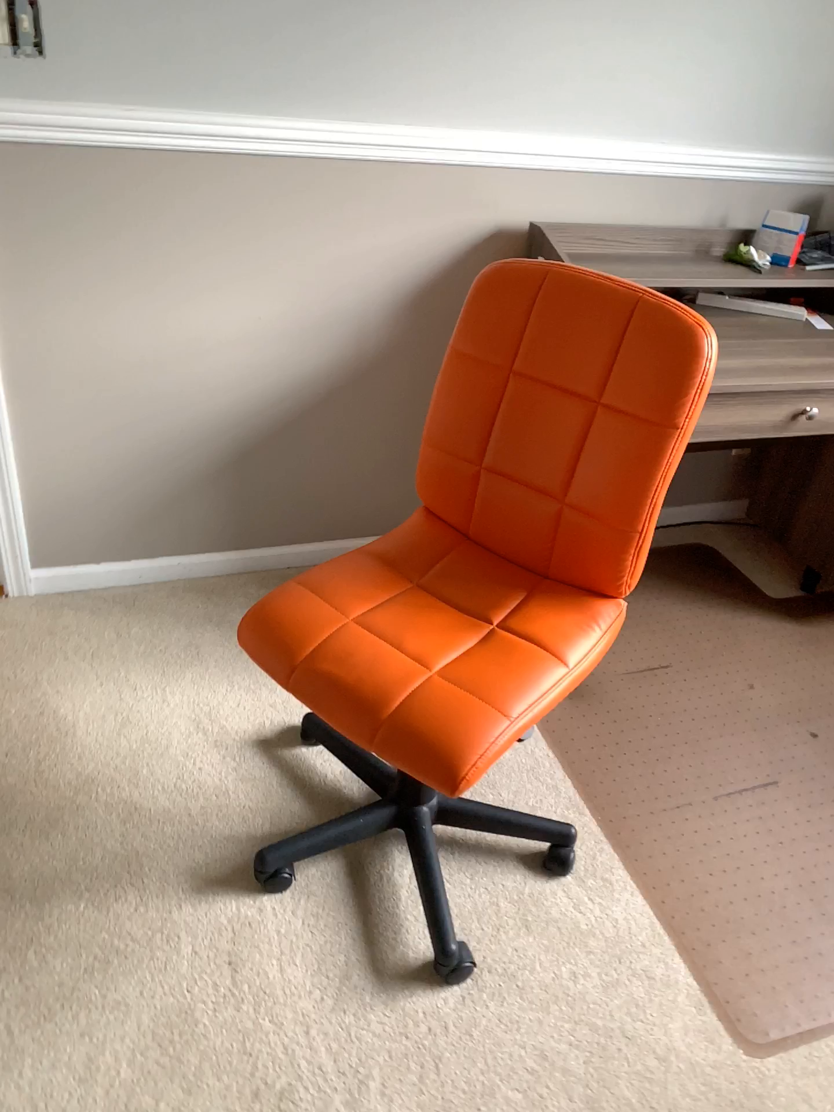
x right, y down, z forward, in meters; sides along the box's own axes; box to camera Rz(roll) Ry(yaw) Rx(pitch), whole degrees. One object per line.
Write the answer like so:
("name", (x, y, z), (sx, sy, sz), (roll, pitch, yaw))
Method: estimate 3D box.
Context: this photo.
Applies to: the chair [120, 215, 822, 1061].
("chair", (0.028, 0.062, 1.249), (0.594, 0.904, 0.601), (32, 40, 33))
